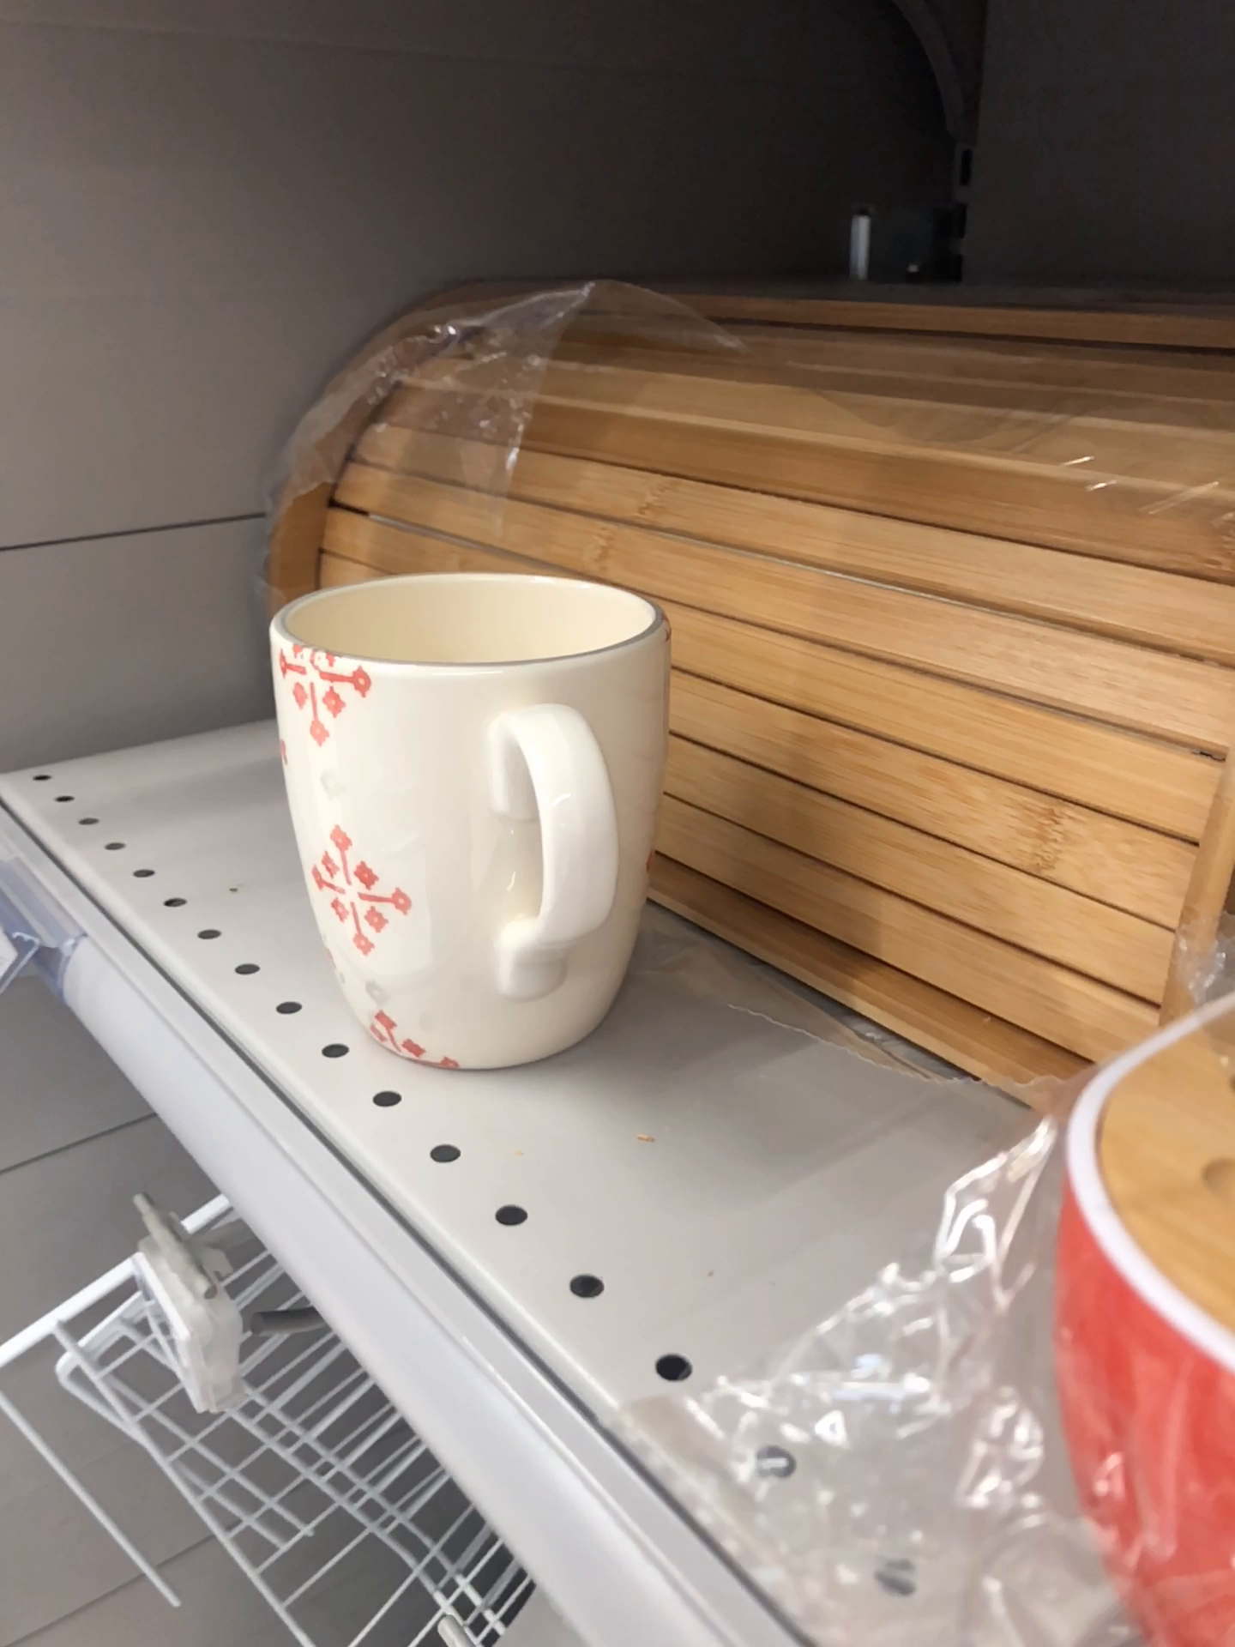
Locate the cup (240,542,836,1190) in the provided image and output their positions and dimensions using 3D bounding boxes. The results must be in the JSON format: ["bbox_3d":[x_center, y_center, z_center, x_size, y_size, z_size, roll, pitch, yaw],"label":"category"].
[{"bbox_3d":[-0.025,-0.003,0.306,0.090,0.089,0.125,-9,25,-20],"label":"cup"}]
